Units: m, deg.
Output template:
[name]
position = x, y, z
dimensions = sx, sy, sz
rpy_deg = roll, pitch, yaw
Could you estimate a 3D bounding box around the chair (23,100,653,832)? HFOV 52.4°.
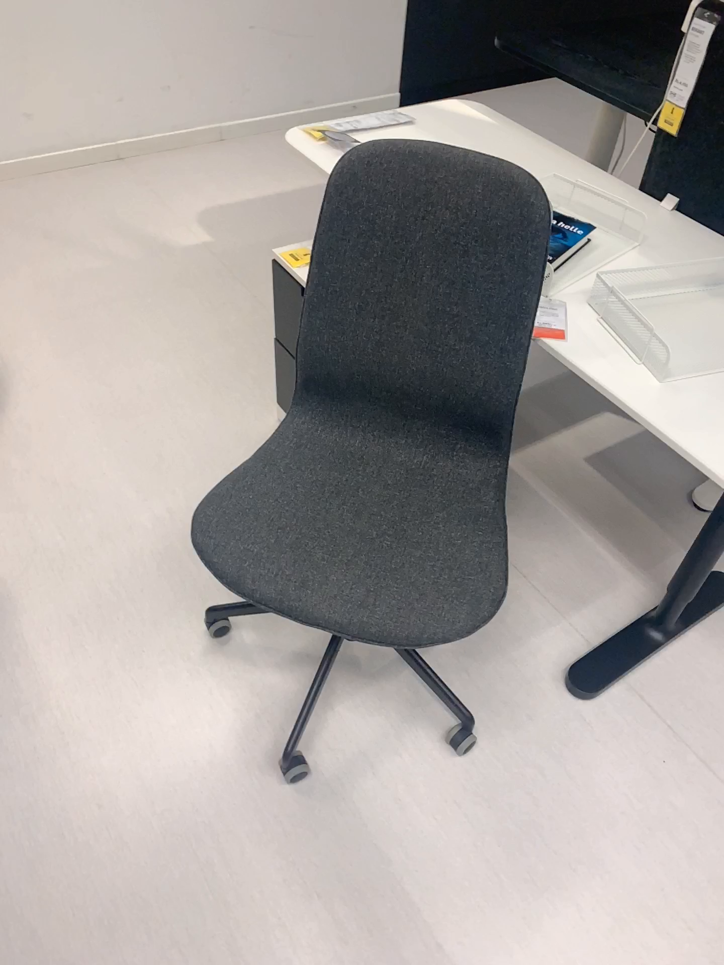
[chair]
position = 0.009, 0.018, 1.284
dimensions = 0.630, 0.997, 0.642
rpy_deg = 13, 46, 8
